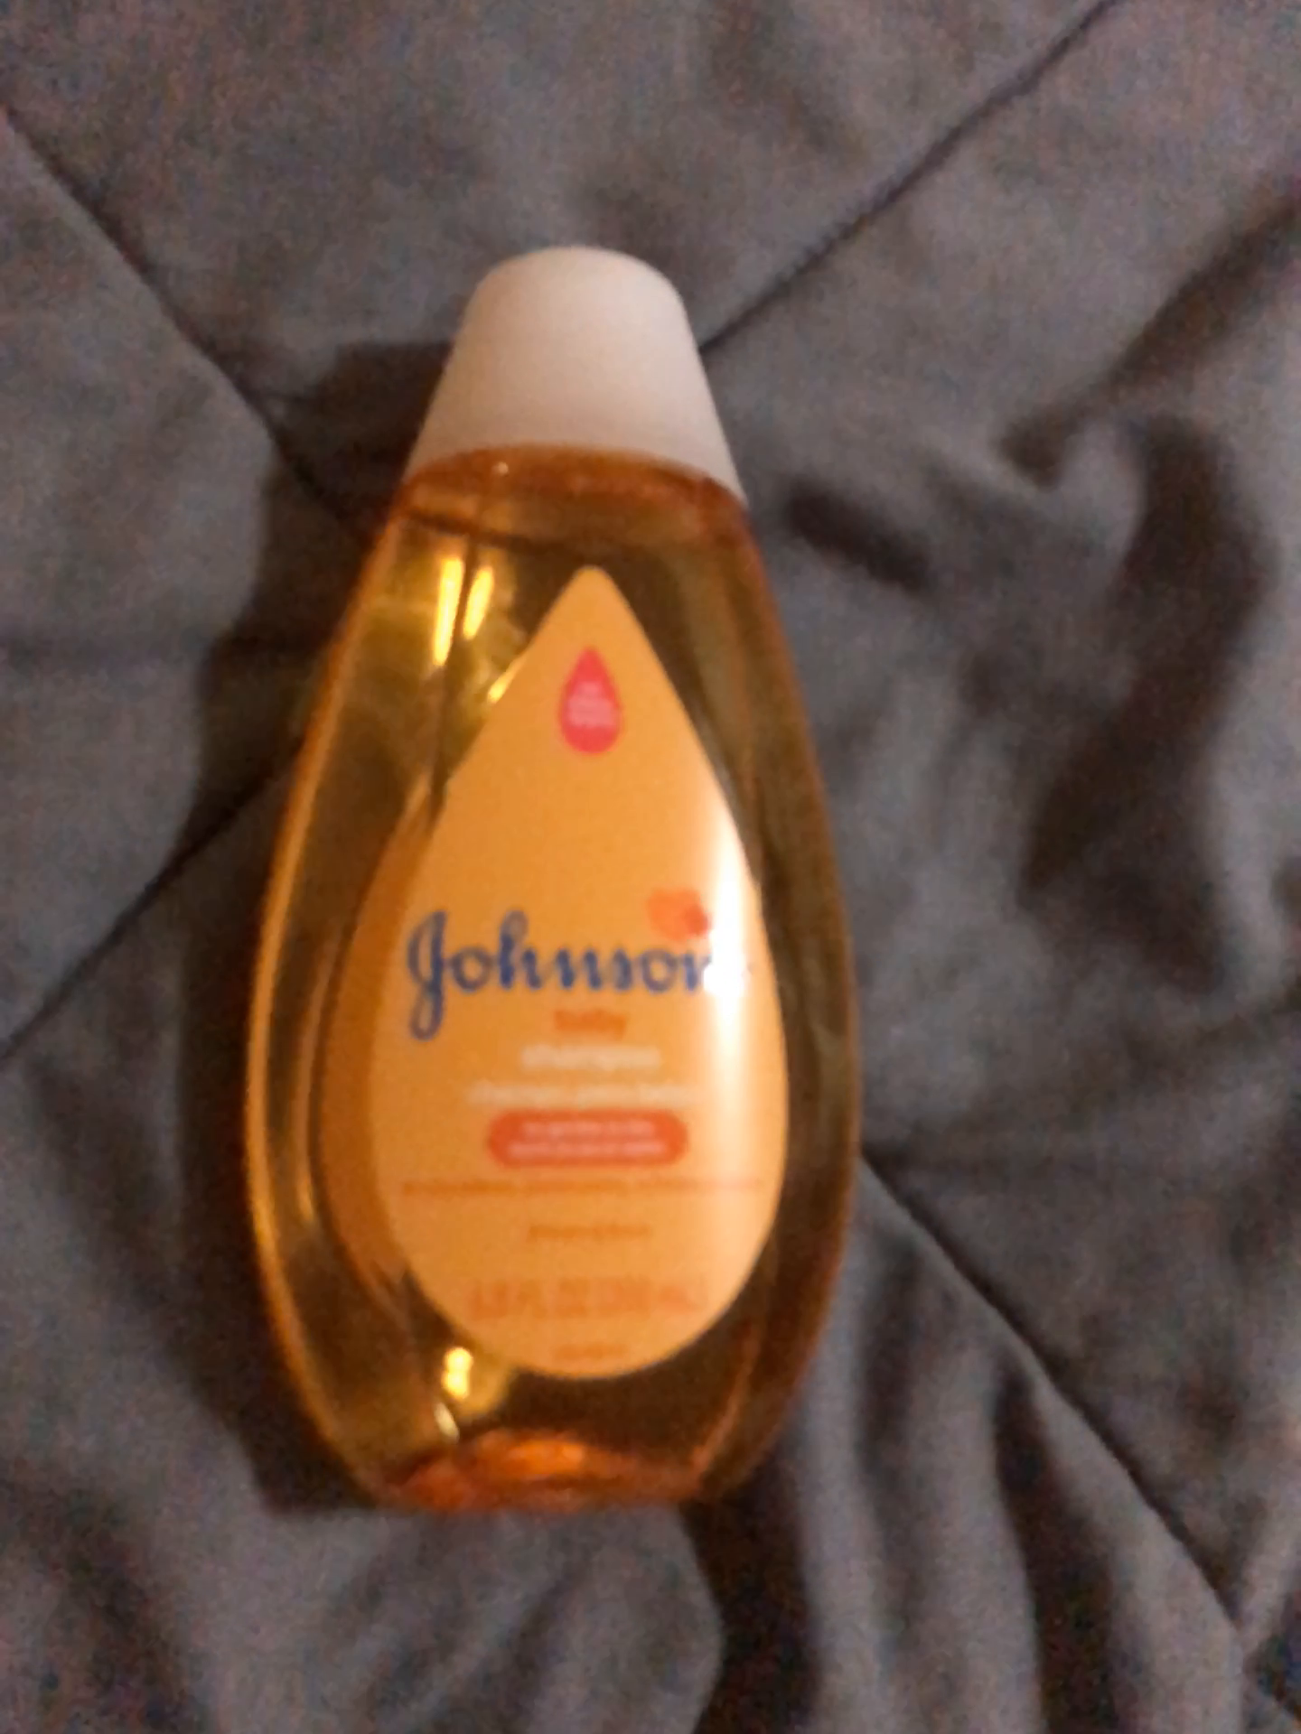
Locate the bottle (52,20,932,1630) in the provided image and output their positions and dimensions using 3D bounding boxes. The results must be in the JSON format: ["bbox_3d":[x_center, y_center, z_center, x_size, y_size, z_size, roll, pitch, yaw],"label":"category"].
[{"bbox_3d":[-0.021,-0.009,0.168,0.083,0.040,0.160,-2,81,-12],"label":"bottle"}]
